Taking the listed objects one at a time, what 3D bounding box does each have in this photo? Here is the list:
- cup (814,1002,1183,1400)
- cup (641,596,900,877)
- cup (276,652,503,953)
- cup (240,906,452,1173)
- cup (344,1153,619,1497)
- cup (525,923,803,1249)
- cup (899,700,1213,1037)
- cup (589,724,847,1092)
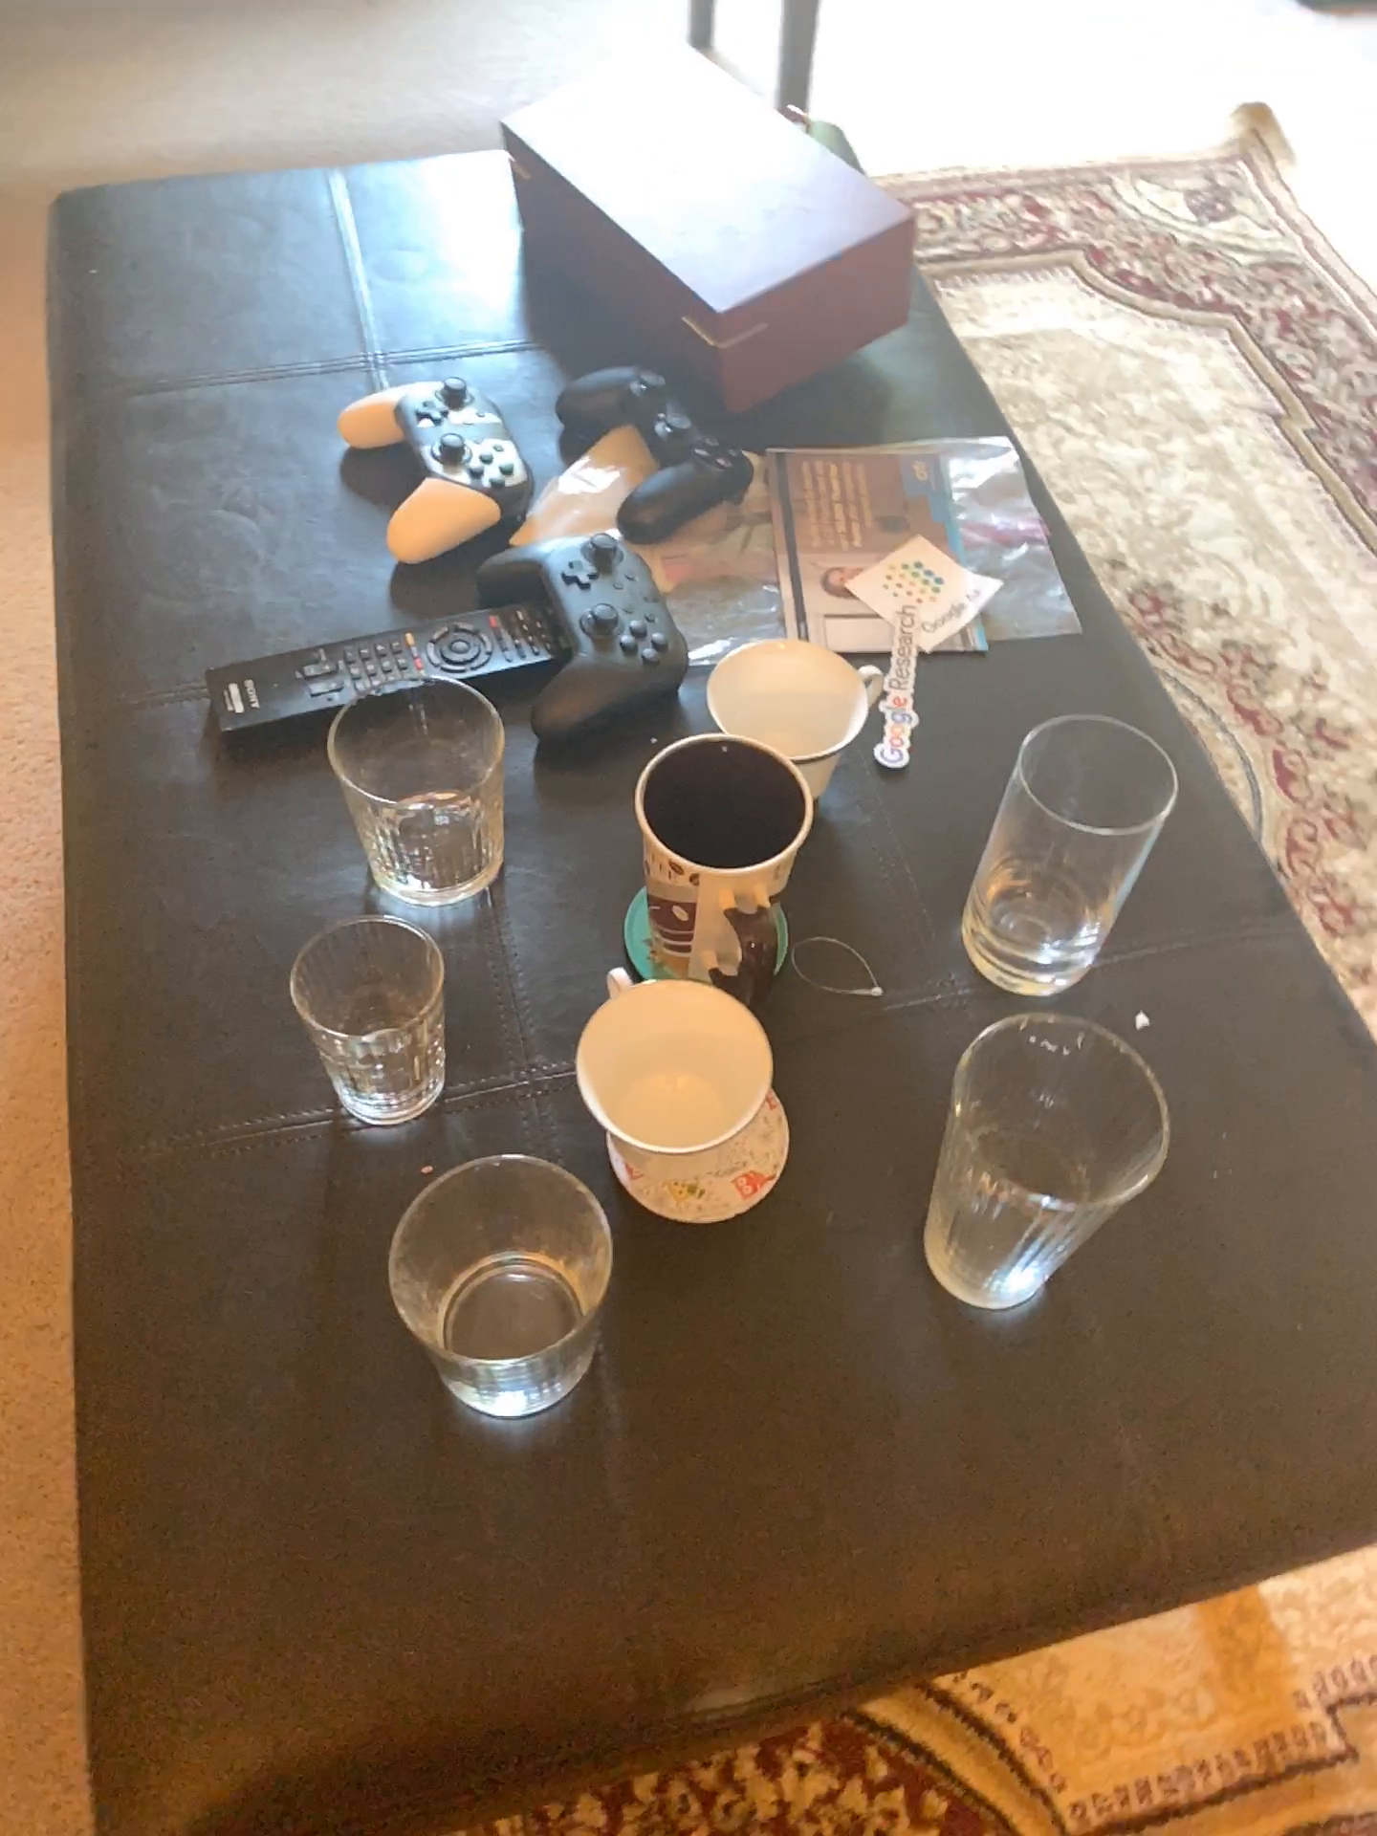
[{"bbox_3d":[0.128,0.134,0.635,0.090,0.189,0.090,2,56,-3],"label":"cup"},{"bbox_3d":[0.045,-0.104,0.805,0.090,0.080,0.110,38,62,19],"label":"cup"},{"bbox_3d":[-0.158,-0.060,0.755,0.090,0.120,0.090,2,56,-3],"label":"cup"},{"bbox_3d":[-0.163,0.060,0.679,0.070,0.100,0.070,2,56,-3],"label":"cup"},{"bbox_3d":[-0.088,0.179,0.613,0.090,0.120,0.090,2,56,-3],"label":"cup"},{"bbox_3d":[-0.015,0.078,0.662,0.090,0.070,0.110,-17,59,-15],"label":"cup"},{"bbox_3d":[0.180,-0.022,0.719,0.090,0.139,0.090,2,56,-3],"label":"cup"},{"bbox_3d":[0.008,-0.004,0.720,0.090,0.120,0.131,-11,58,-11],"label":"cup"}]
